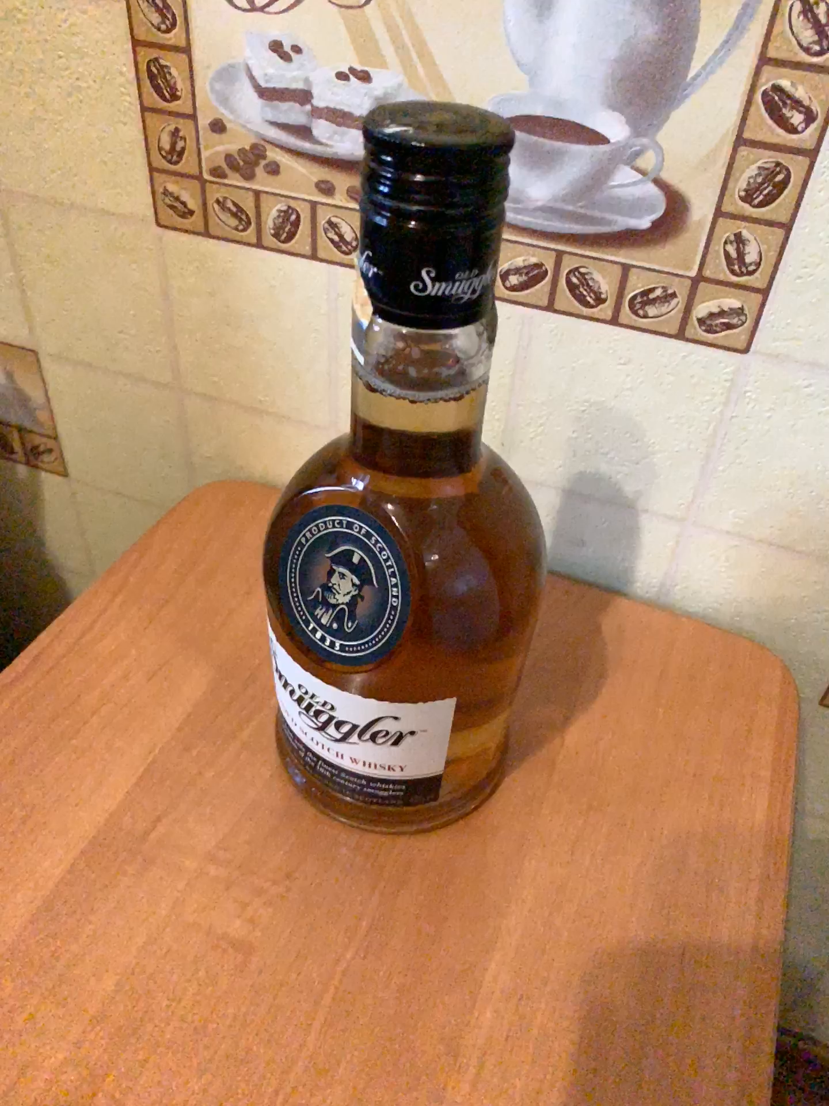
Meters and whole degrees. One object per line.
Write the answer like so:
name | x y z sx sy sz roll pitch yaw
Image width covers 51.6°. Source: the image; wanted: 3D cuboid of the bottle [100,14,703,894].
bottle | -0.009 -0.015 0.256 0.100 0.229 0.080 28 46 25
